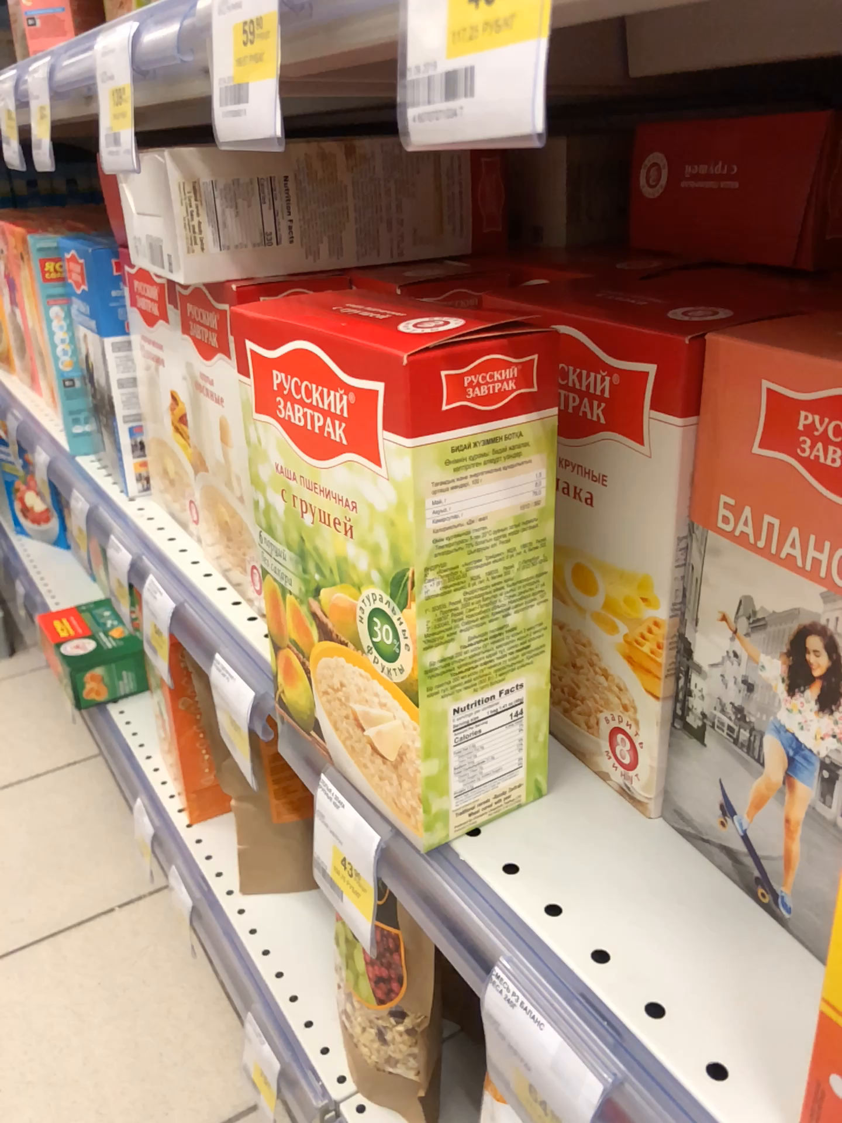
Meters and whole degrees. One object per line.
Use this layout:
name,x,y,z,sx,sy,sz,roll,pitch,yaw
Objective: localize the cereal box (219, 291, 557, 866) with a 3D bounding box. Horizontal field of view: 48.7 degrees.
cereal box,-0.016,-0.003,0.379,0.060,0.189,0.141,-16,27,-30
